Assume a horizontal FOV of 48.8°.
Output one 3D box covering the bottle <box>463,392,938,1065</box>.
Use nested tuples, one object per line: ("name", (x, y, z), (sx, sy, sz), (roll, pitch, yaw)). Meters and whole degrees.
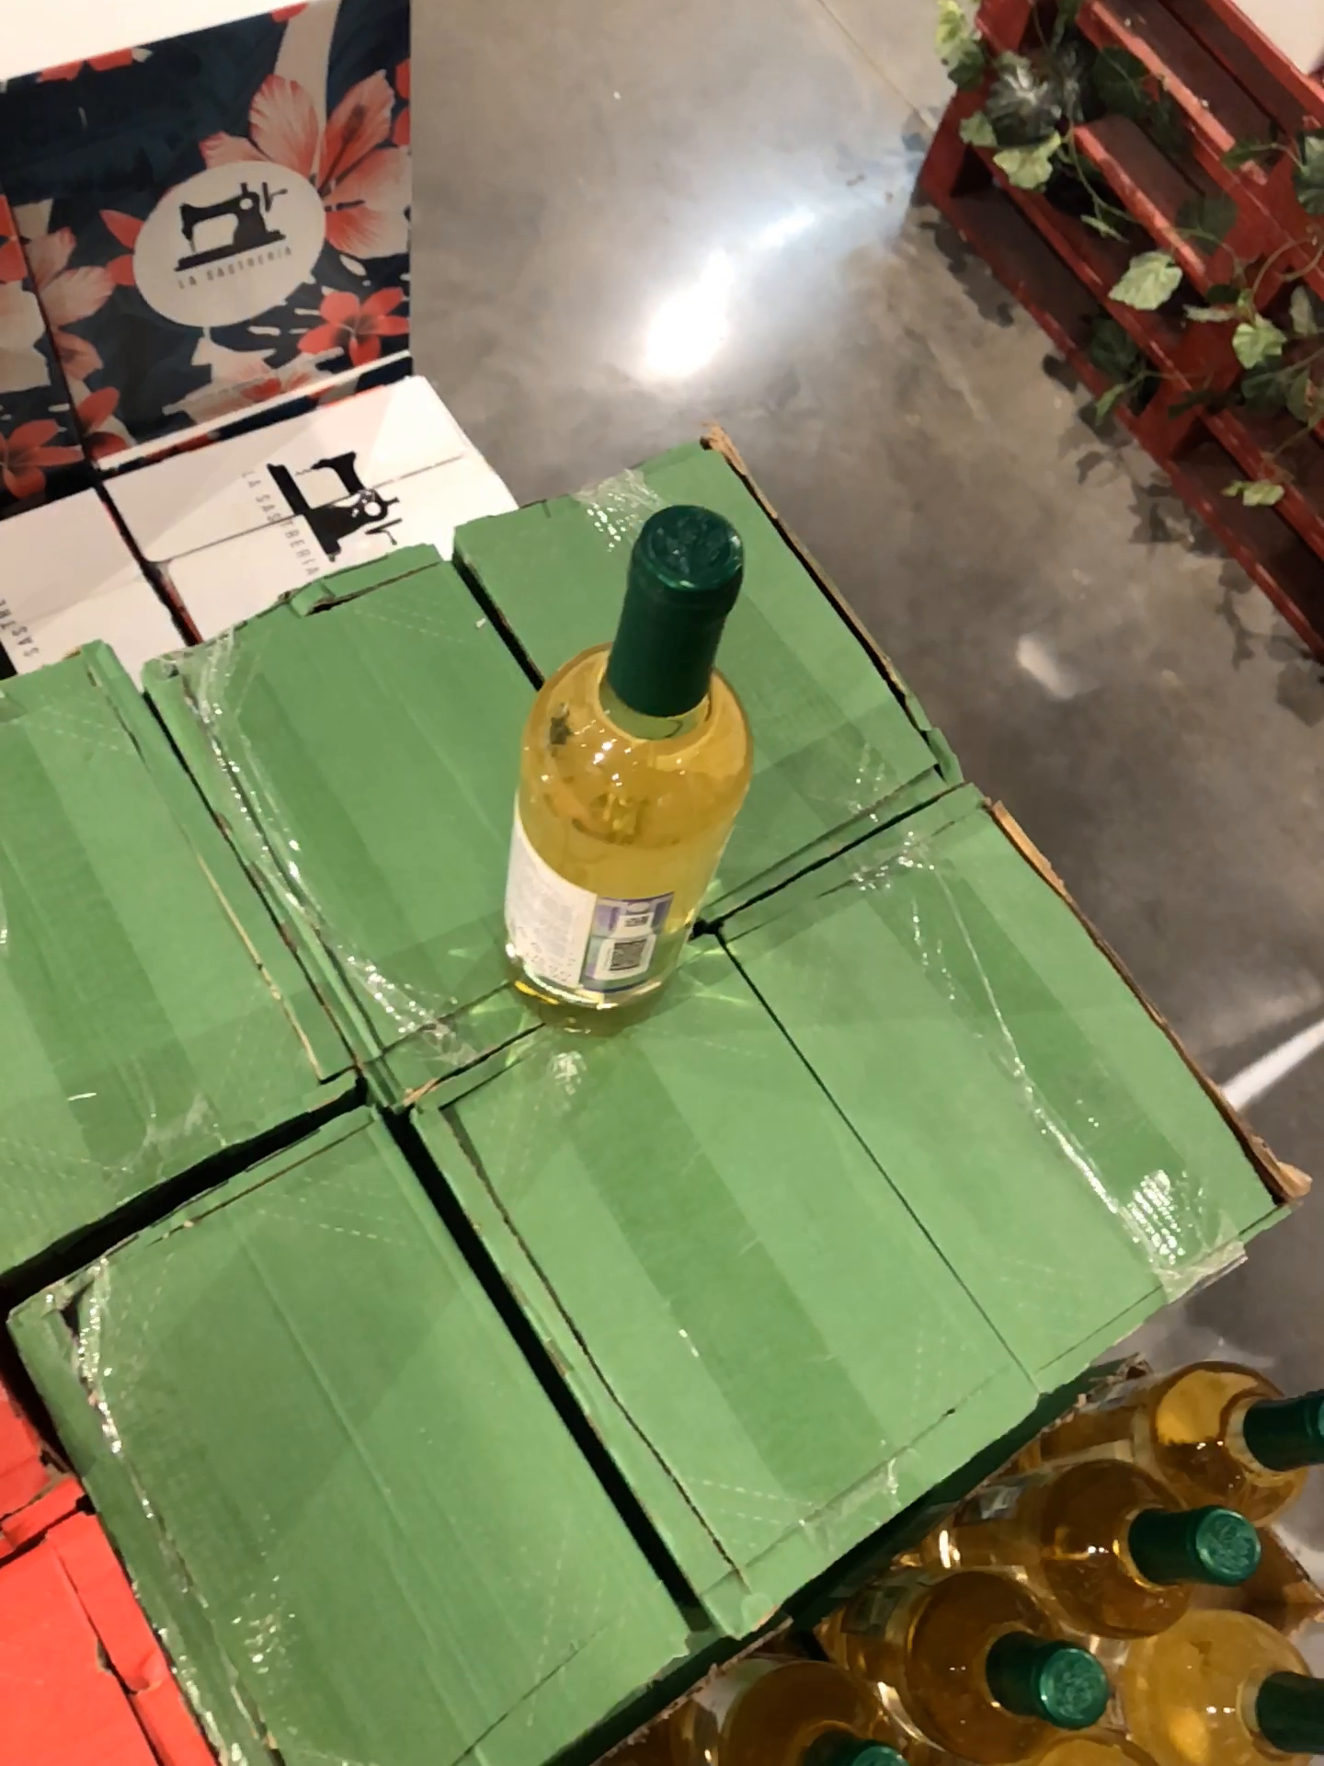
("bottle", (-0.006, -0.030, 0.491), (0.084, 0.263, 0.080), (4, 66, -8))
